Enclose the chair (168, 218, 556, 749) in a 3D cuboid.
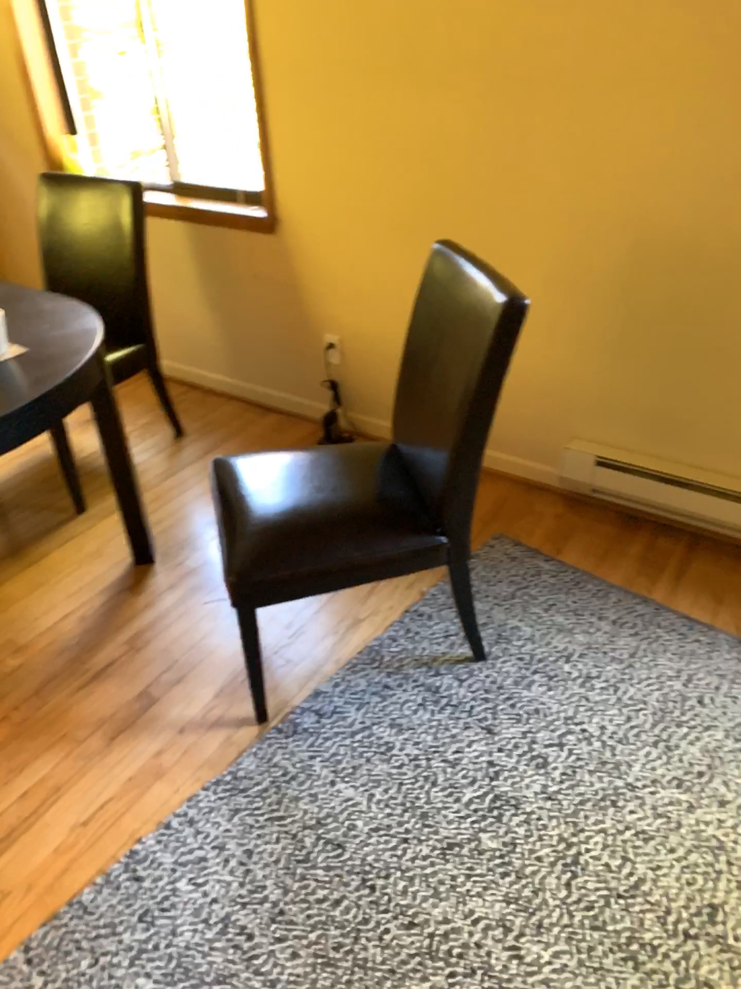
[{"bbox_3d":[-0.035,-0.030,1.808,0.670,1.033,0.564,-11,34,-11],"label":"chair"}]
